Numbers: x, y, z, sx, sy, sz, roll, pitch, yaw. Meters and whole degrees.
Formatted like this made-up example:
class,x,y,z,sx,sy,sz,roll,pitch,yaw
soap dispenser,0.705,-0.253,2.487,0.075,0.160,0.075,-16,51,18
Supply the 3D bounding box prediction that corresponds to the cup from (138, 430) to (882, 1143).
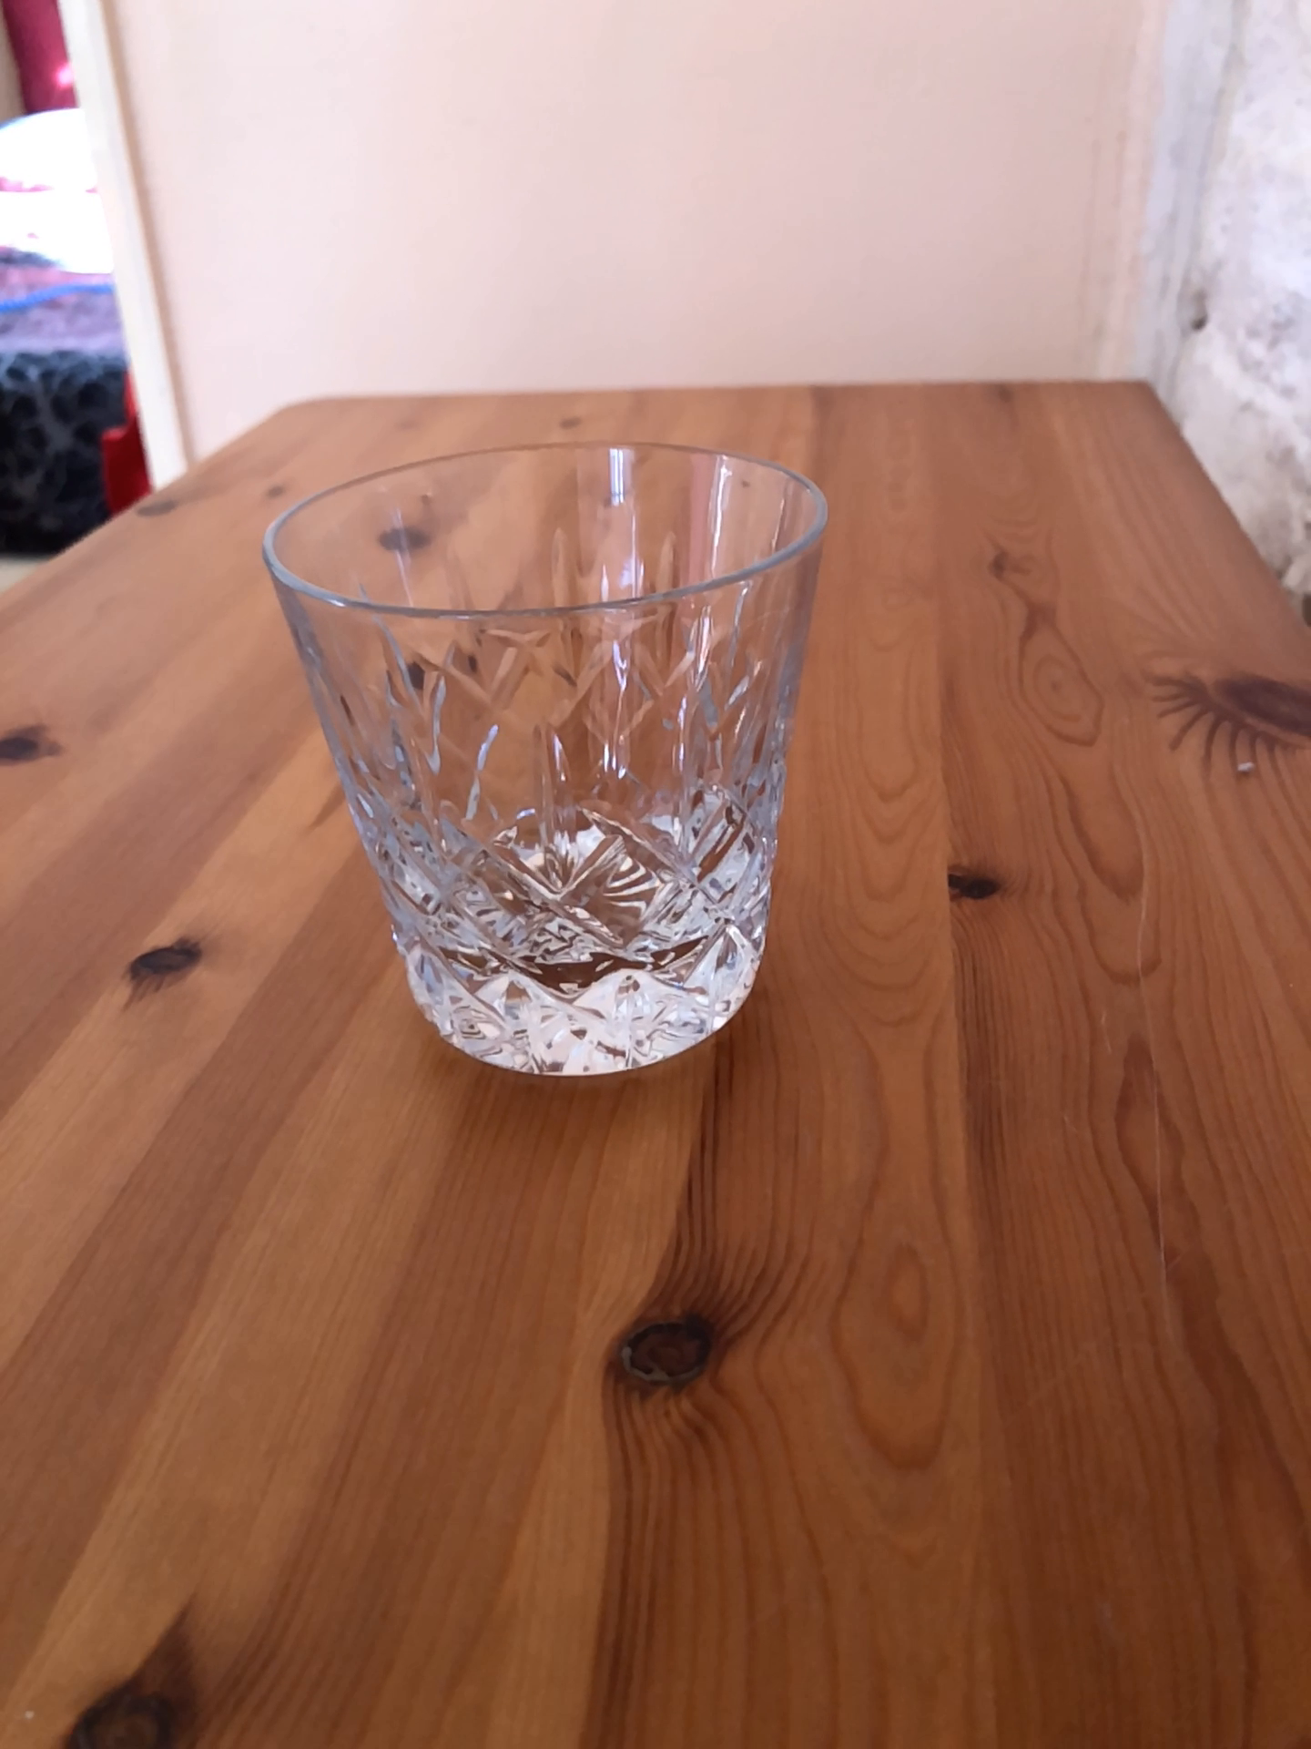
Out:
class,x,y,z,sx,sy,sz,roll,pitch,yaw
cup,-0.010,-0.018,0.205,0.076,0.068,0.078,-3,30,2
